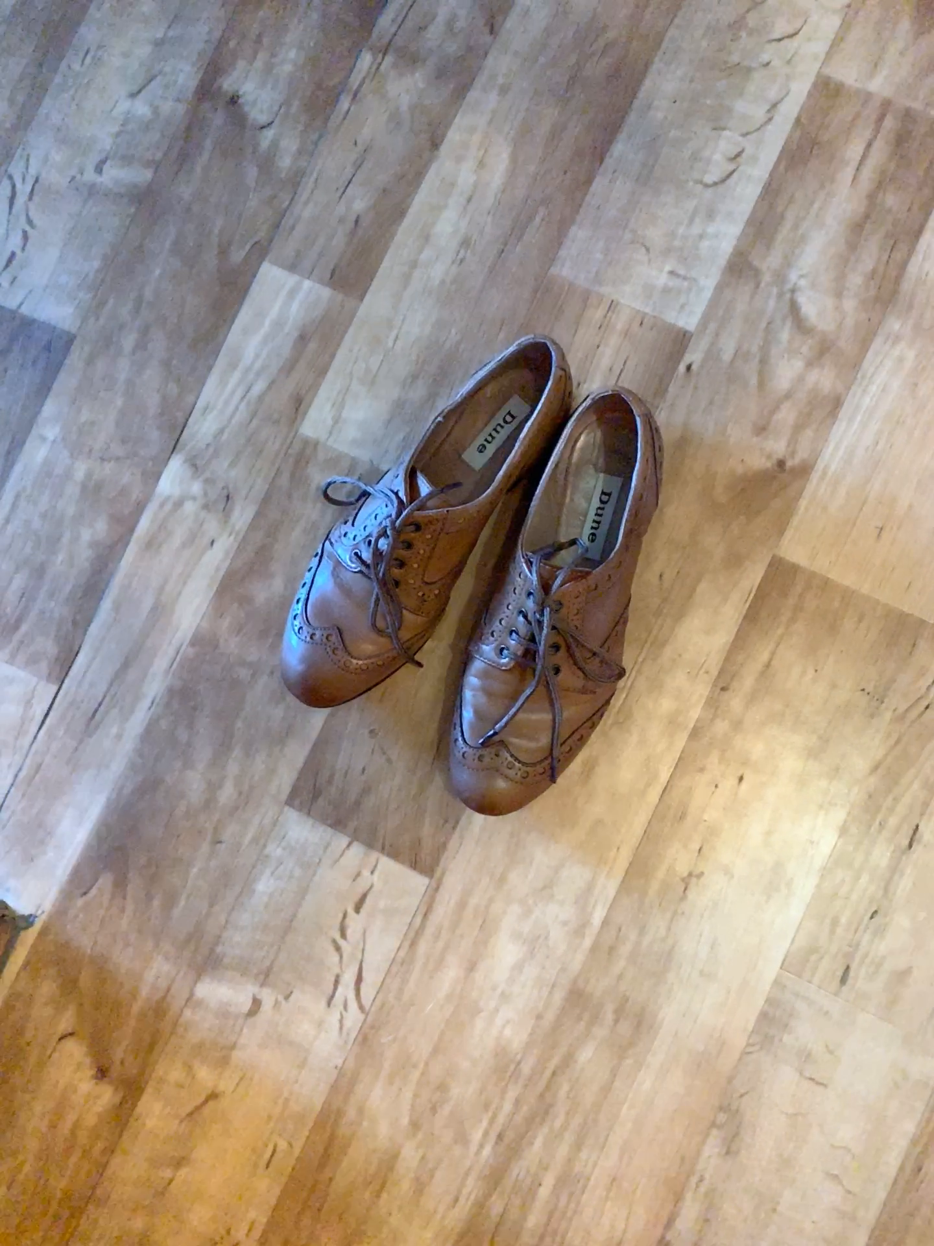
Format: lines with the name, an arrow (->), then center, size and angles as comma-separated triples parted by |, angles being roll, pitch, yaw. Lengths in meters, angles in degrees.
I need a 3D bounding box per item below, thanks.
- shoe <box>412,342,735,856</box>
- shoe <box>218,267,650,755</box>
shoe -> 0.056, -0.008, 0.507 | 0.080, 0.120, 0.230 | 19, 85, 8
shoe -> -0.011, -0.051, 0.534 | 0.090, 0.120, 0.240 | 36, 88, 9
